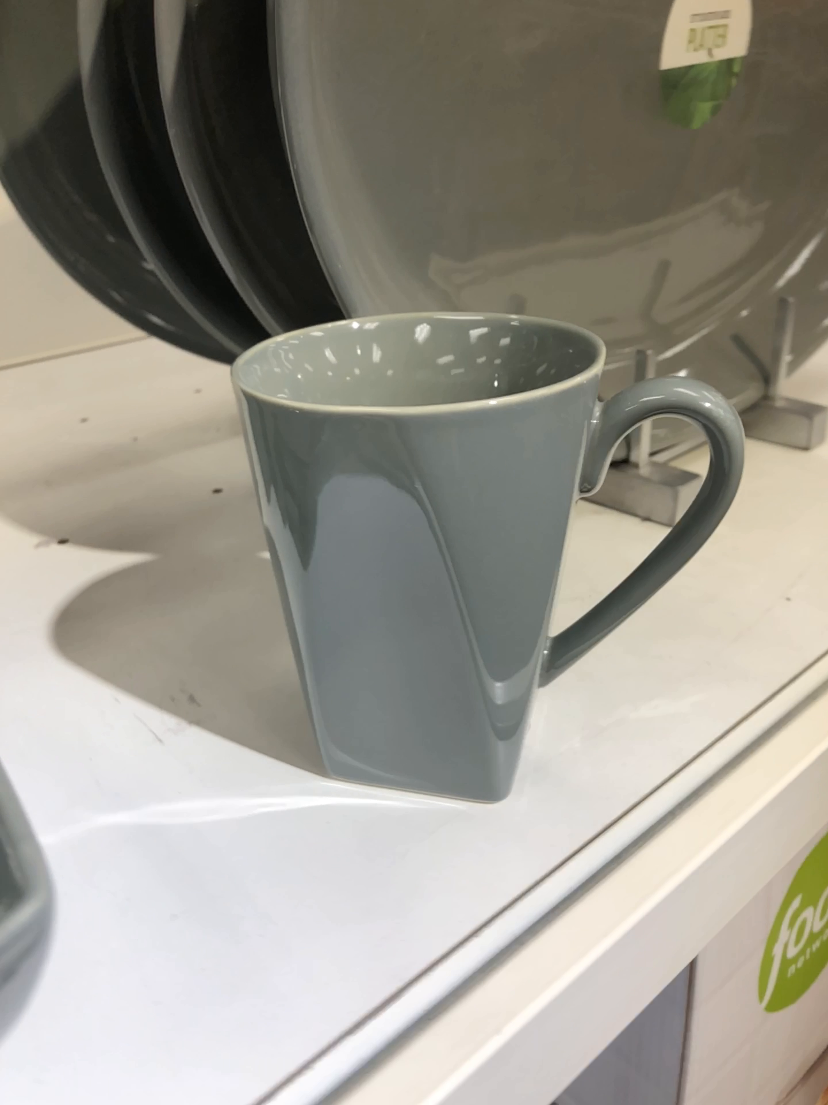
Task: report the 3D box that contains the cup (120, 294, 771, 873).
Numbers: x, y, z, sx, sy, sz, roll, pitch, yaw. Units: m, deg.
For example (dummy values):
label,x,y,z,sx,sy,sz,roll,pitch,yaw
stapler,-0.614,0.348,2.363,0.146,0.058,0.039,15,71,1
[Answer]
label,x,y,z,sx,sy,sz,roll,pitch,yaw
cup,0.015,-0.003,0.229,0.118,0.097,0.100,5,28,13
